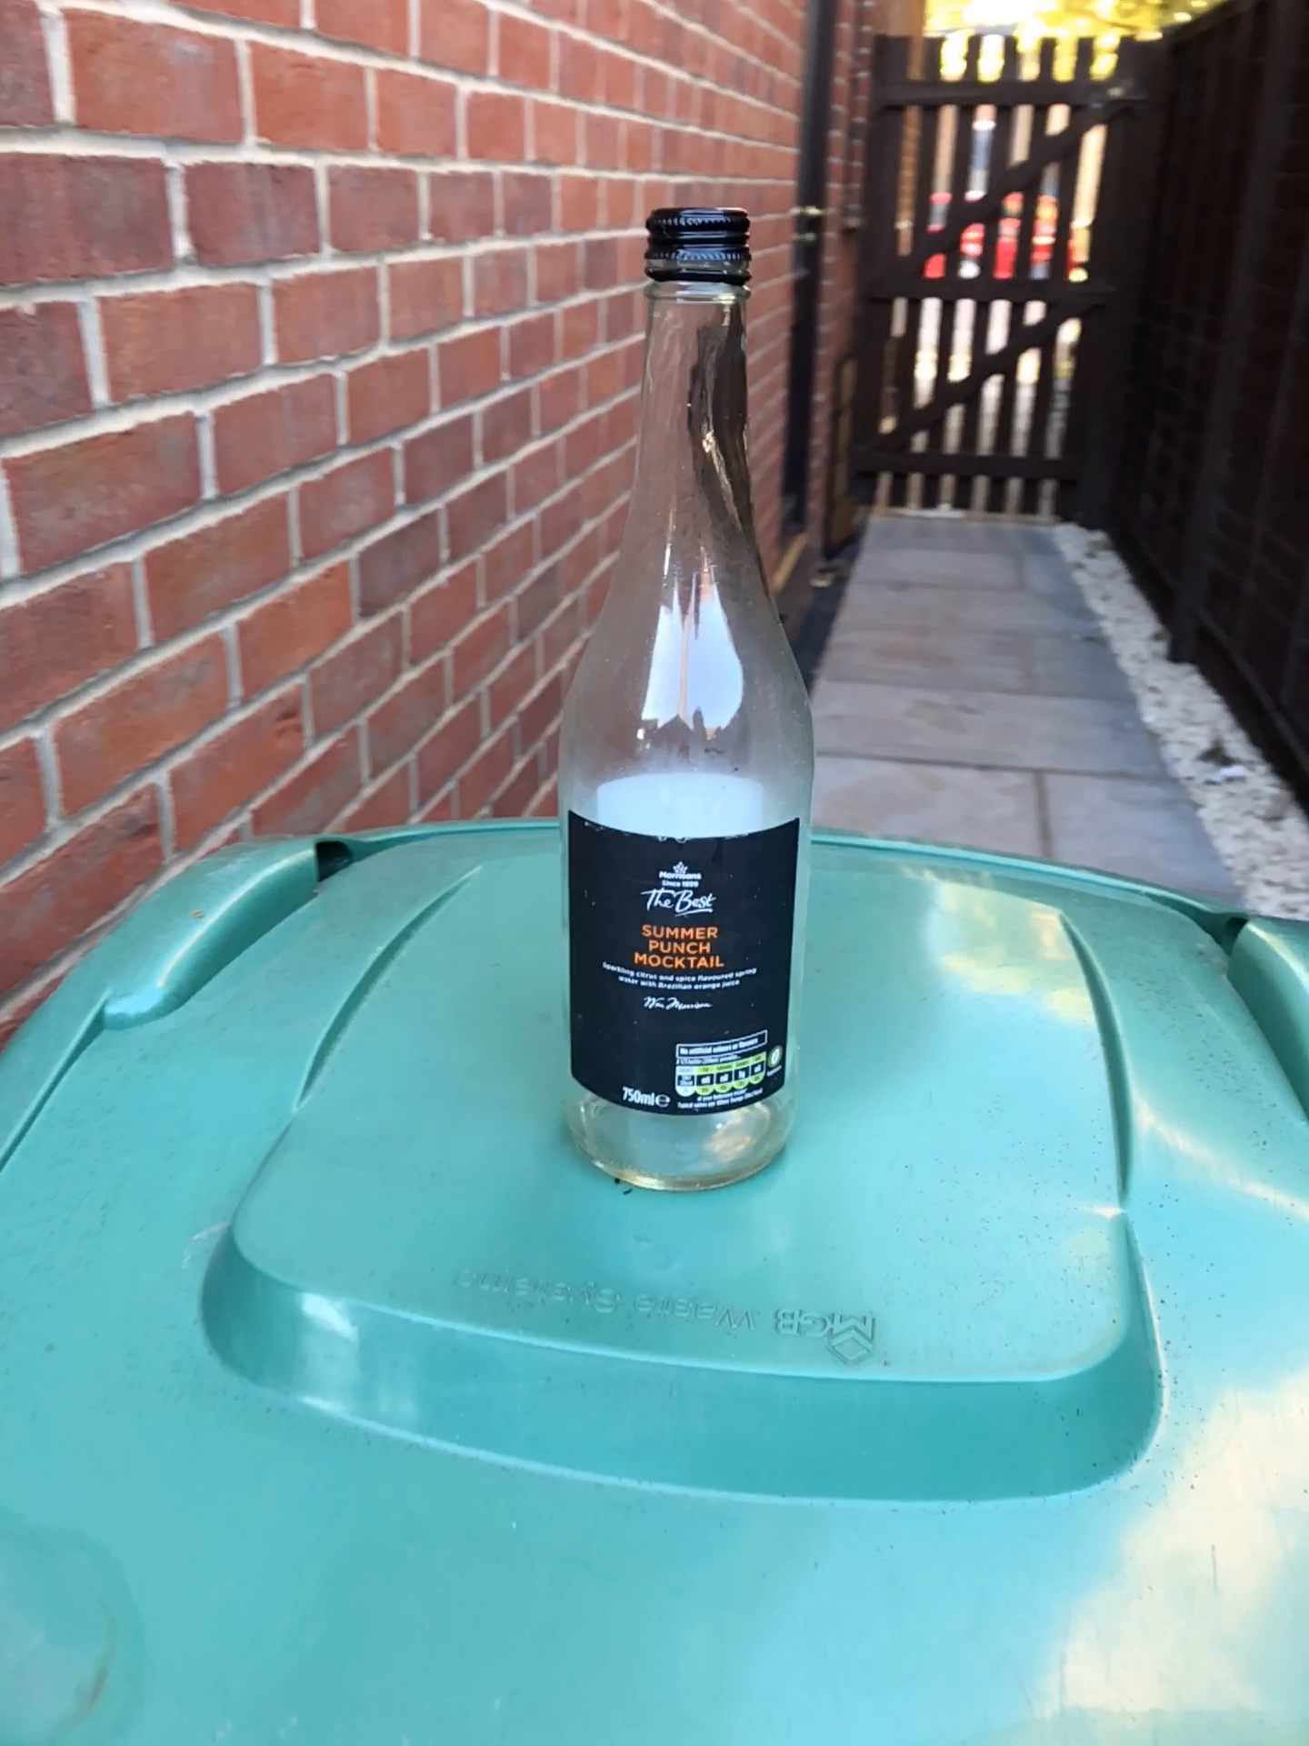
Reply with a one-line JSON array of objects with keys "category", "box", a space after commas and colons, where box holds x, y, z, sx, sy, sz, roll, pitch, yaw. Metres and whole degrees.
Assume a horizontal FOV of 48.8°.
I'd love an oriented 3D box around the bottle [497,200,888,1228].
[{"category": "bottle", "box": [0.008, -0.040, 0.428, 0.090, 0.288, 0.081, 2, 24, 3]}]
